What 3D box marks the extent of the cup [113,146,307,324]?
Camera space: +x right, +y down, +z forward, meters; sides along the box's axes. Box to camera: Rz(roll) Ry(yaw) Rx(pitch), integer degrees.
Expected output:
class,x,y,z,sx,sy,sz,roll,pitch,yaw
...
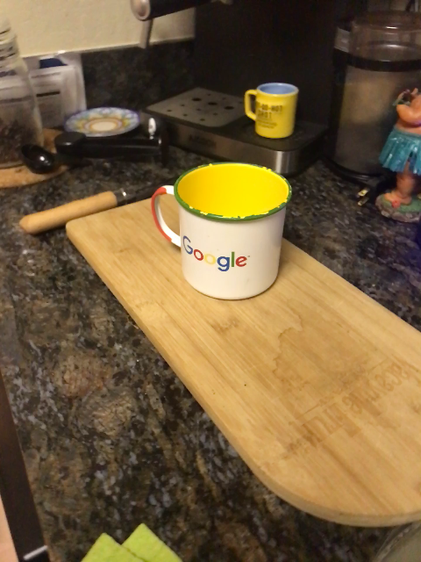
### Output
class,x,y,z,sx,sy,sz,roll,pitch,yaw
cup,0.002,-0.047,0.412,0.130,0.089,0.101,19,43,22
